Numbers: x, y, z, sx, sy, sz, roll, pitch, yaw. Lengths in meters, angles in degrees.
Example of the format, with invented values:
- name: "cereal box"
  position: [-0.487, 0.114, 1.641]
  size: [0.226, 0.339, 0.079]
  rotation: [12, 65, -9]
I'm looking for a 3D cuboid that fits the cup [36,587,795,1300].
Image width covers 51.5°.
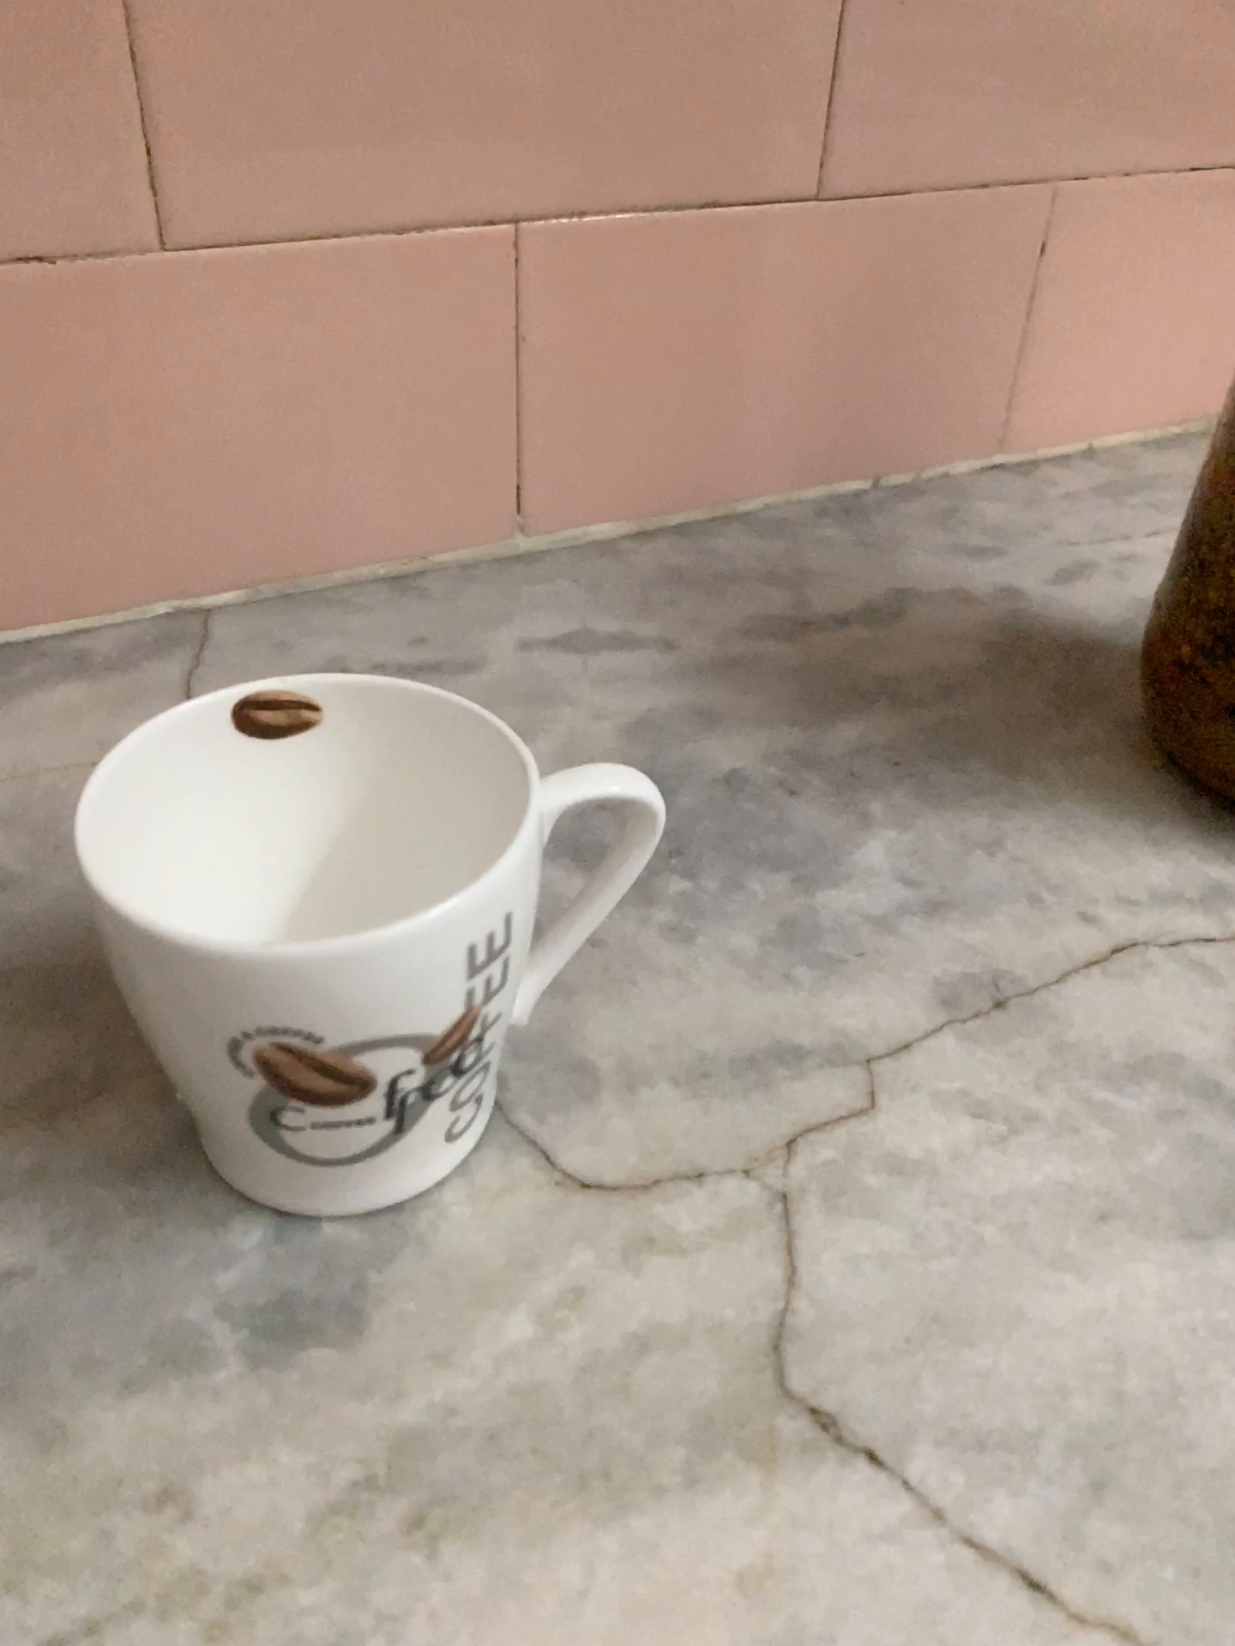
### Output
- name: "cup"
  position: [-0.035, 0.015, 0.223]
  size: [0.100, 0.070, 0.070]
  rotation: [-16, 42, -23]
